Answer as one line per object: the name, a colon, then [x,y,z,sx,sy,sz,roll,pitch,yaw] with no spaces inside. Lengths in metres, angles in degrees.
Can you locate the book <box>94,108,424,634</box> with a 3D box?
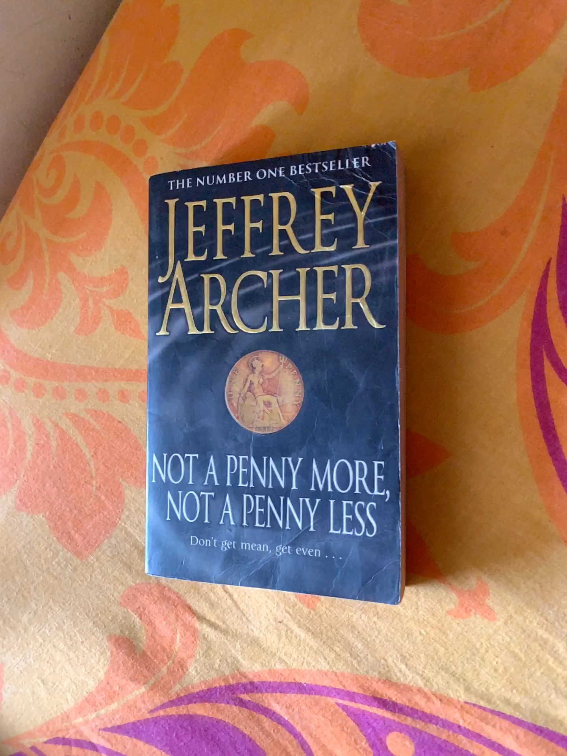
book: [-0.008,-0.004,0.209,0.110,0.030,0.160,-1,84,19]
